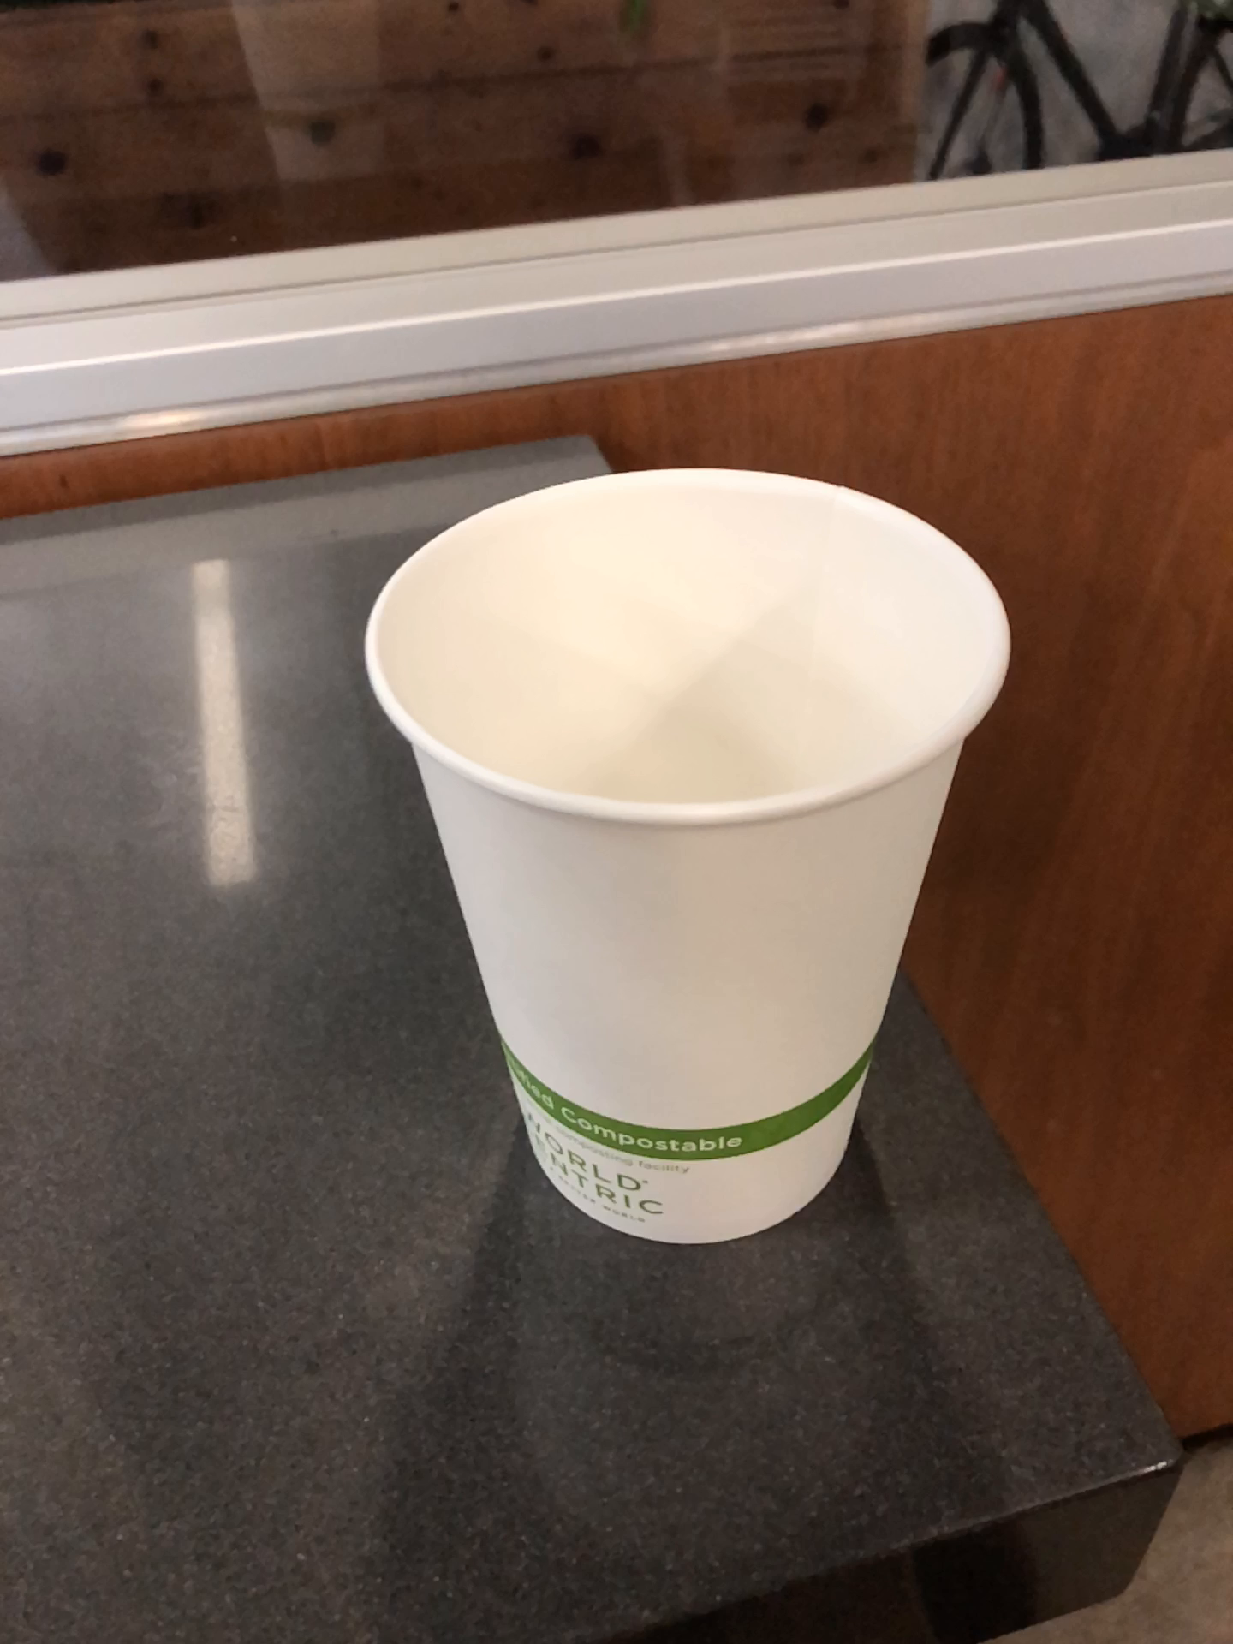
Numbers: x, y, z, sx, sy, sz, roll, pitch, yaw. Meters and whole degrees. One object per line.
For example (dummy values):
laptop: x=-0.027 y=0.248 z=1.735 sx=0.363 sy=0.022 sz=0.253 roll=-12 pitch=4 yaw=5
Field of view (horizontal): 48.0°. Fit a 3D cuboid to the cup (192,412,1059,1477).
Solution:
cup: x=0.008 y=0.016 z=0.218 sx=0.080 sy=0.119 sz=0.090 roll=18 pitch=43 yaw=24
